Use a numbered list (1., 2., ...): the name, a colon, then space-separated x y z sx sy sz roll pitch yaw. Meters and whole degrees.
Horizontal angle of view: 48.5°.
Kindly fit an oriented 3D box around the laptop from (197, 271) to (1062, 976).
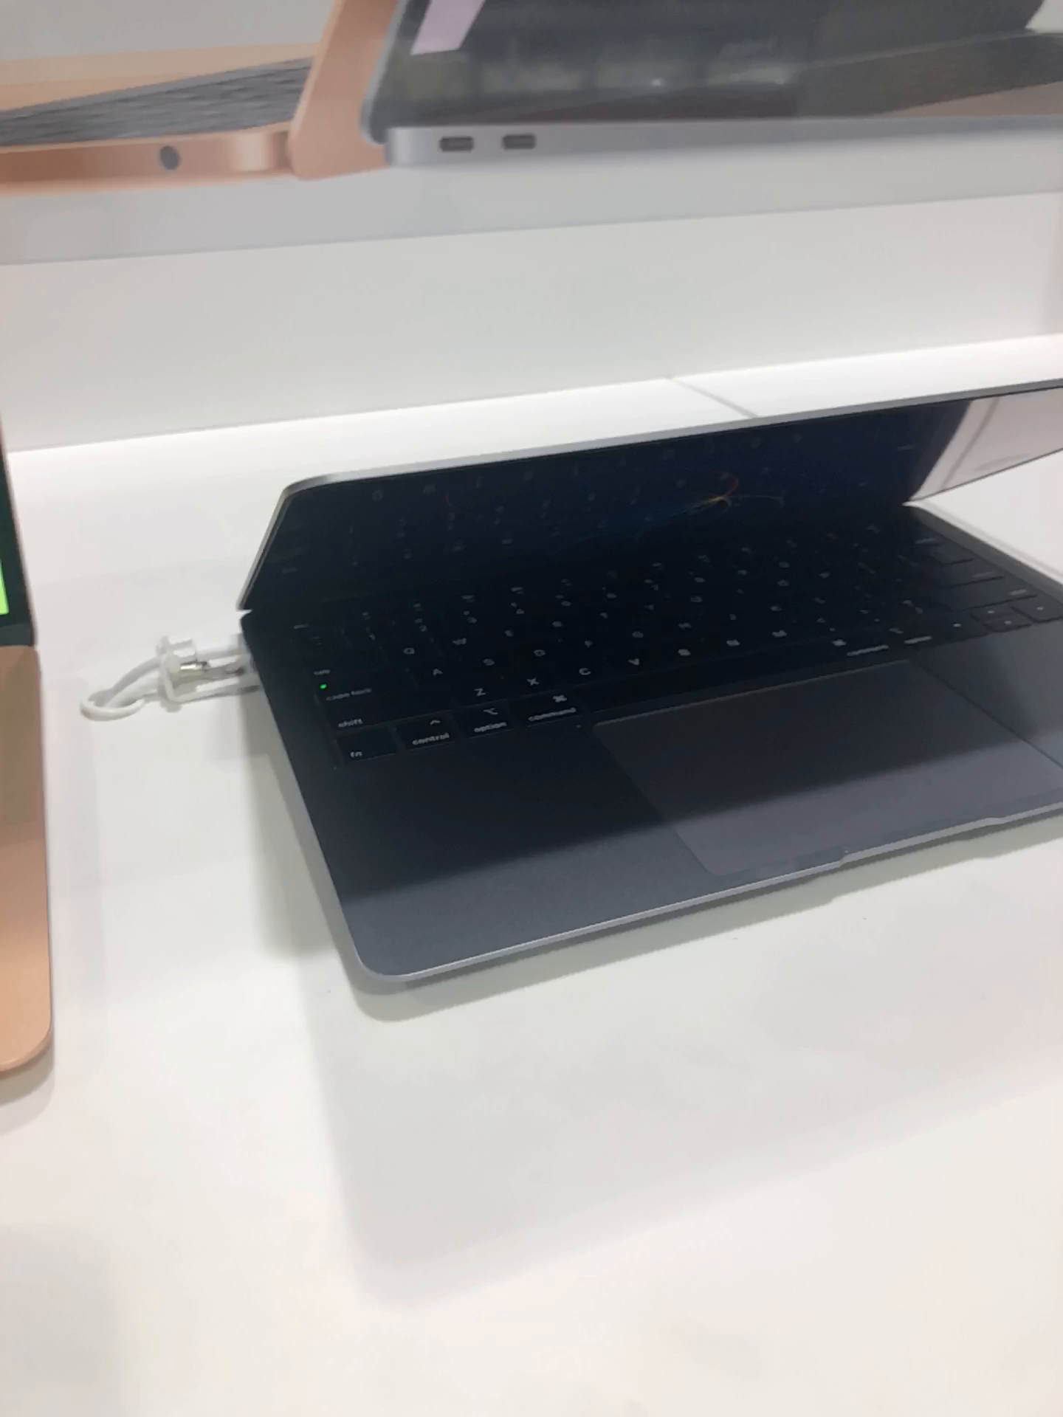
1. laptop: 0.062 -0.057 0.371 0.288 0.102 0.200 -11 31 -18
